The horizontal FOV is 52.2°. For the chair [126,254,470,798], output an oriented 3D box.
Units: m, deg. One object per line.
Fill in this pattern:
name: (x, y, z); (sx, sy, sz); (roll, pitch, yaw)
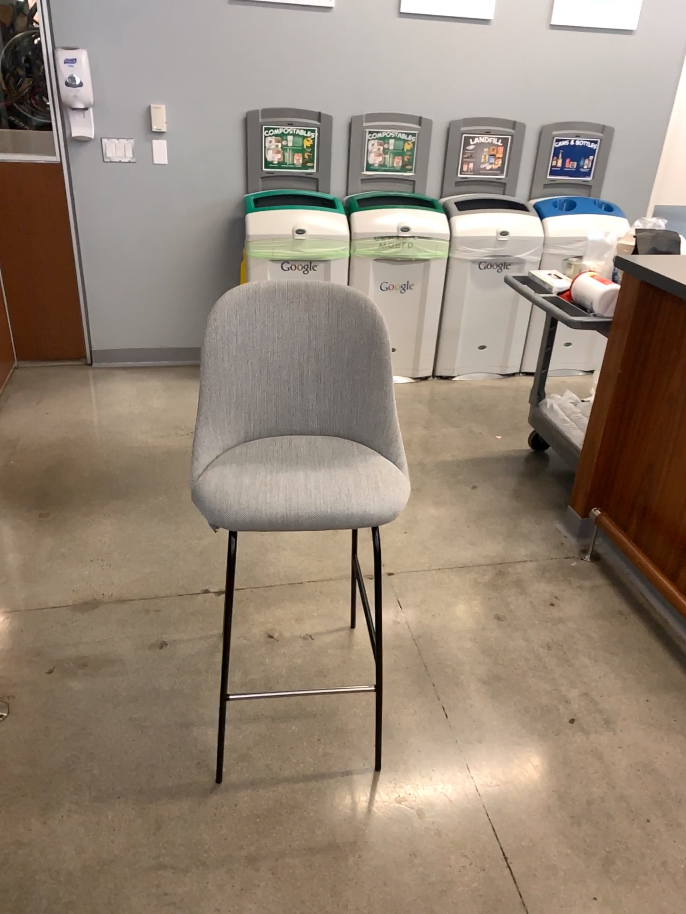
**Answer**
chair: (-0.152, 0.130, 1.810); (0.590, 1.094, 0.815); (-1, 28, -8)
